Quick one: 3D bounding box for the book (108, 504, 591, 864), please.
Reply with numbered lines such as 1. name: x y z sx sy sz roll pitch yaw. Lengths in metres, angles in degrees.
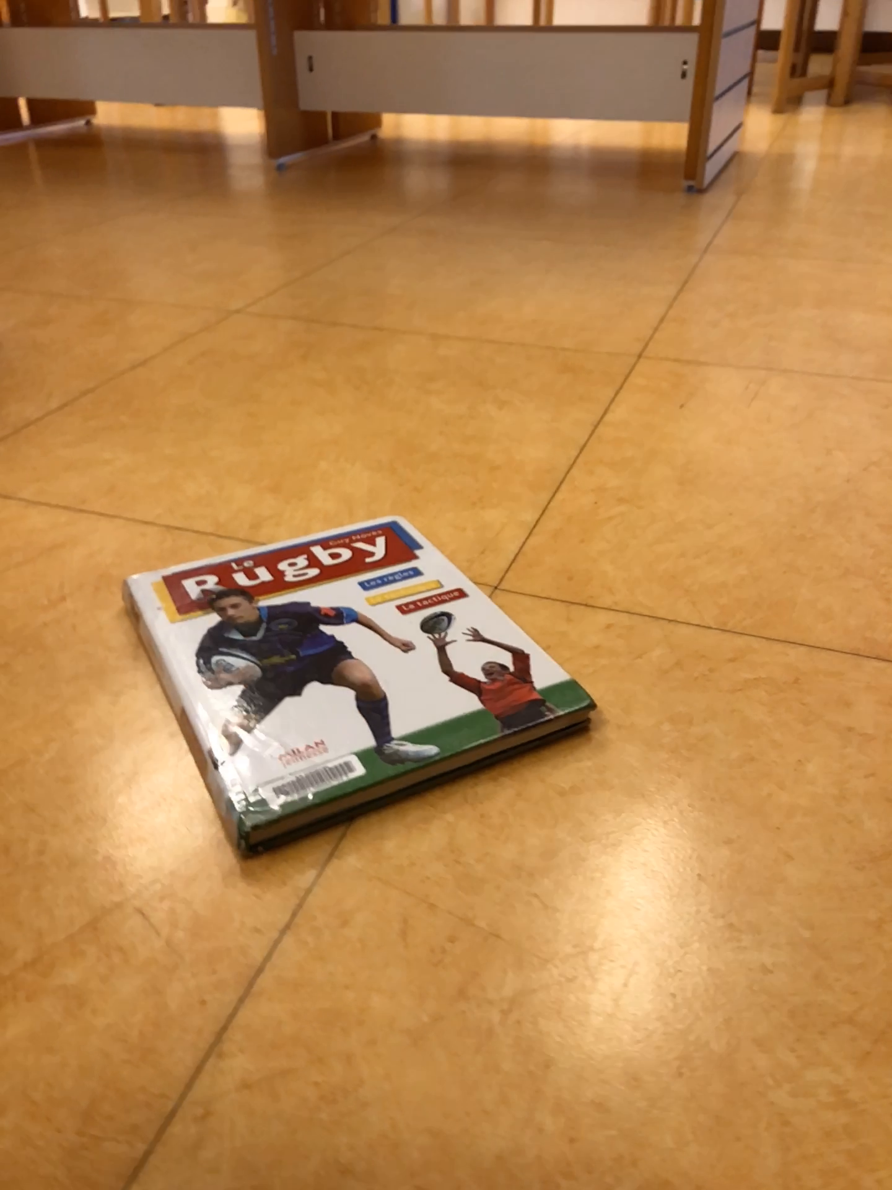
1. book: -0.072 0.030 0.593 0.204 0.024 0.261 -16 35 -23
